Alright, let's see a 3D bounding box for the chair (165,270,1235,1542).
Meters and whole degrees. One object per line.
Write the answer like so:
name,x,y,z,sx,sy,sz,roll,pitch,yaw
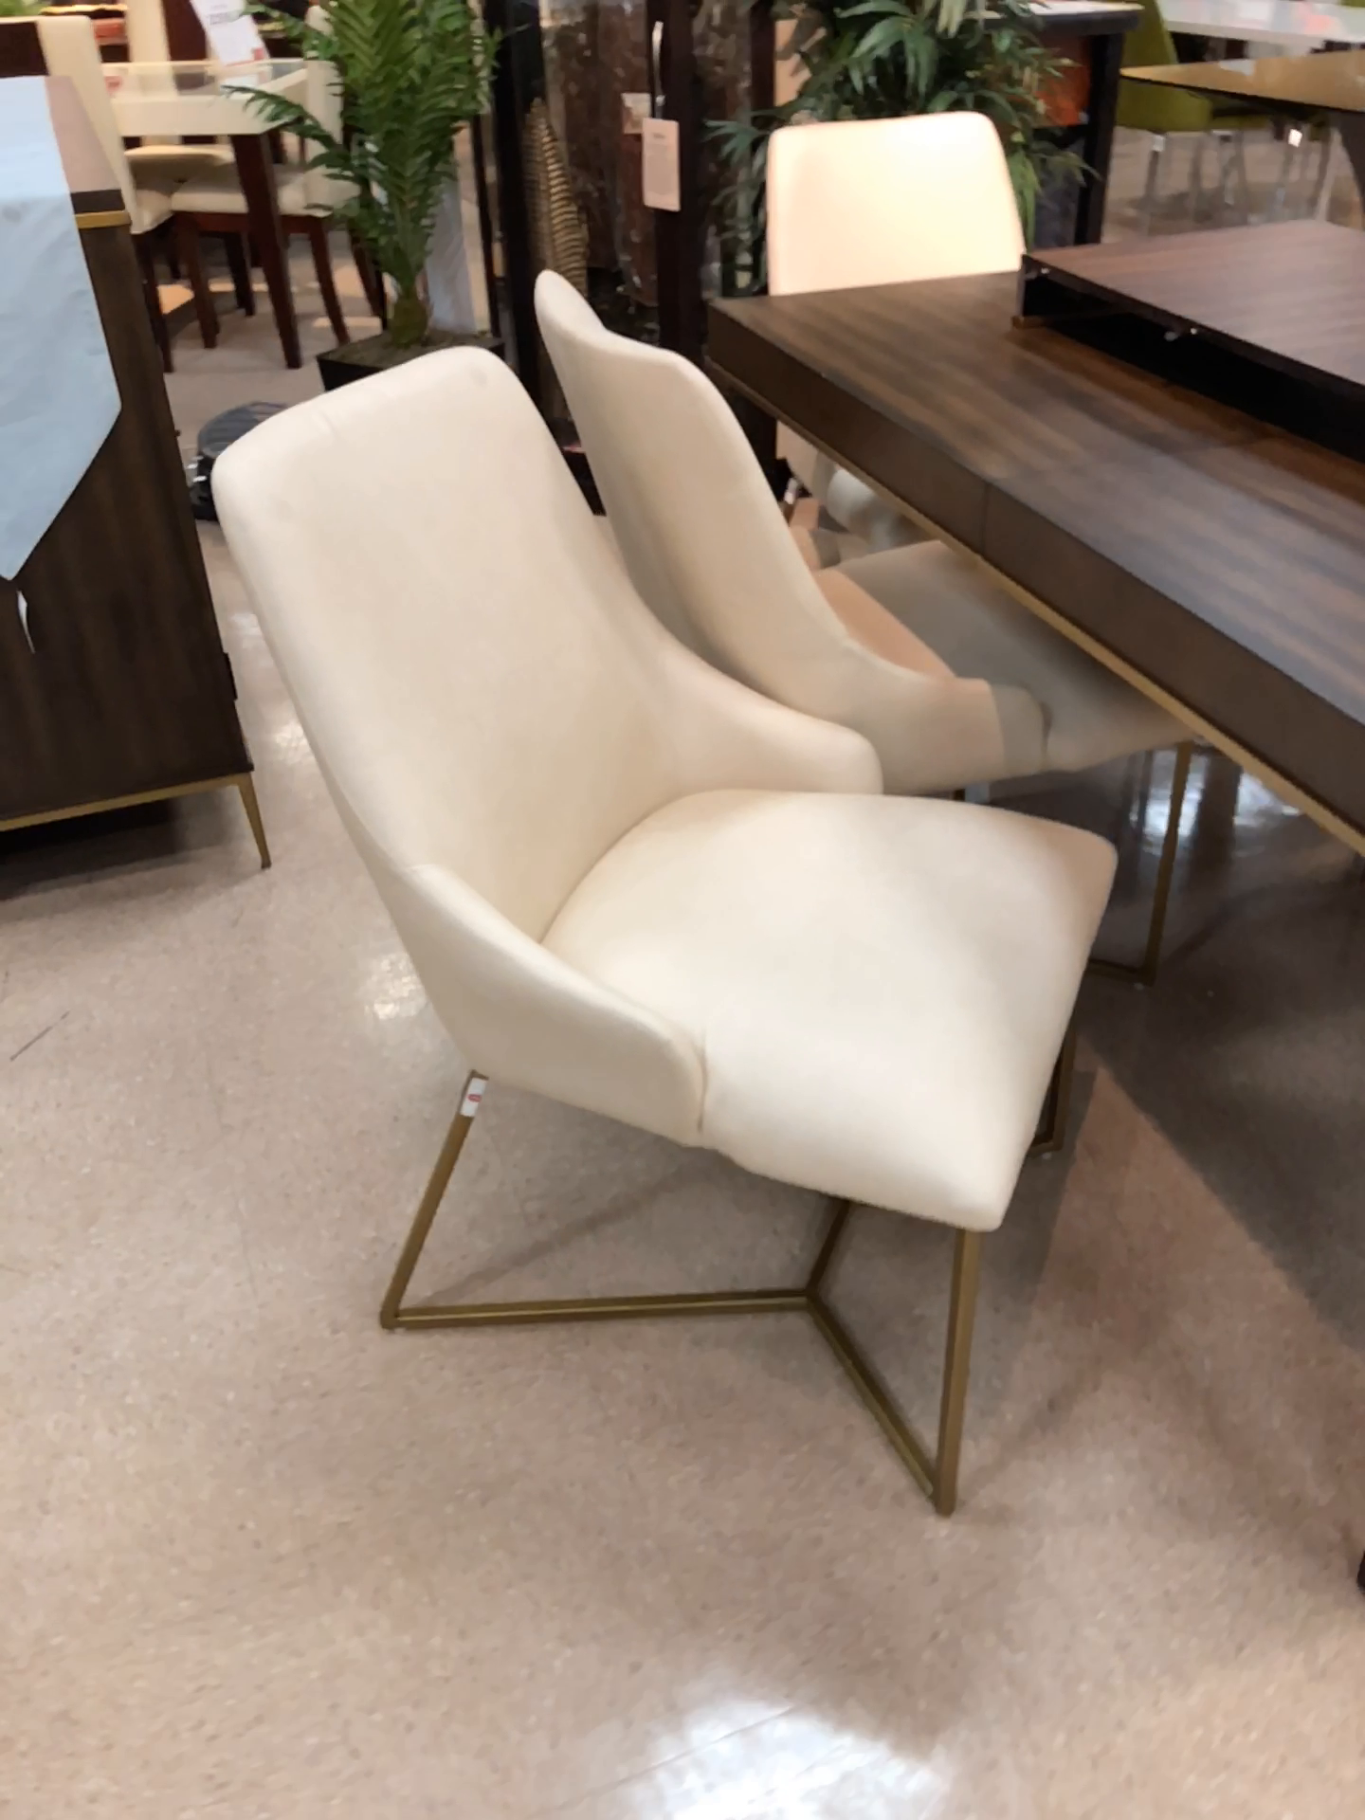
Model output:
chair,0.058,-0.032,1.376,0.641,0.904,0.543,13,37,21
